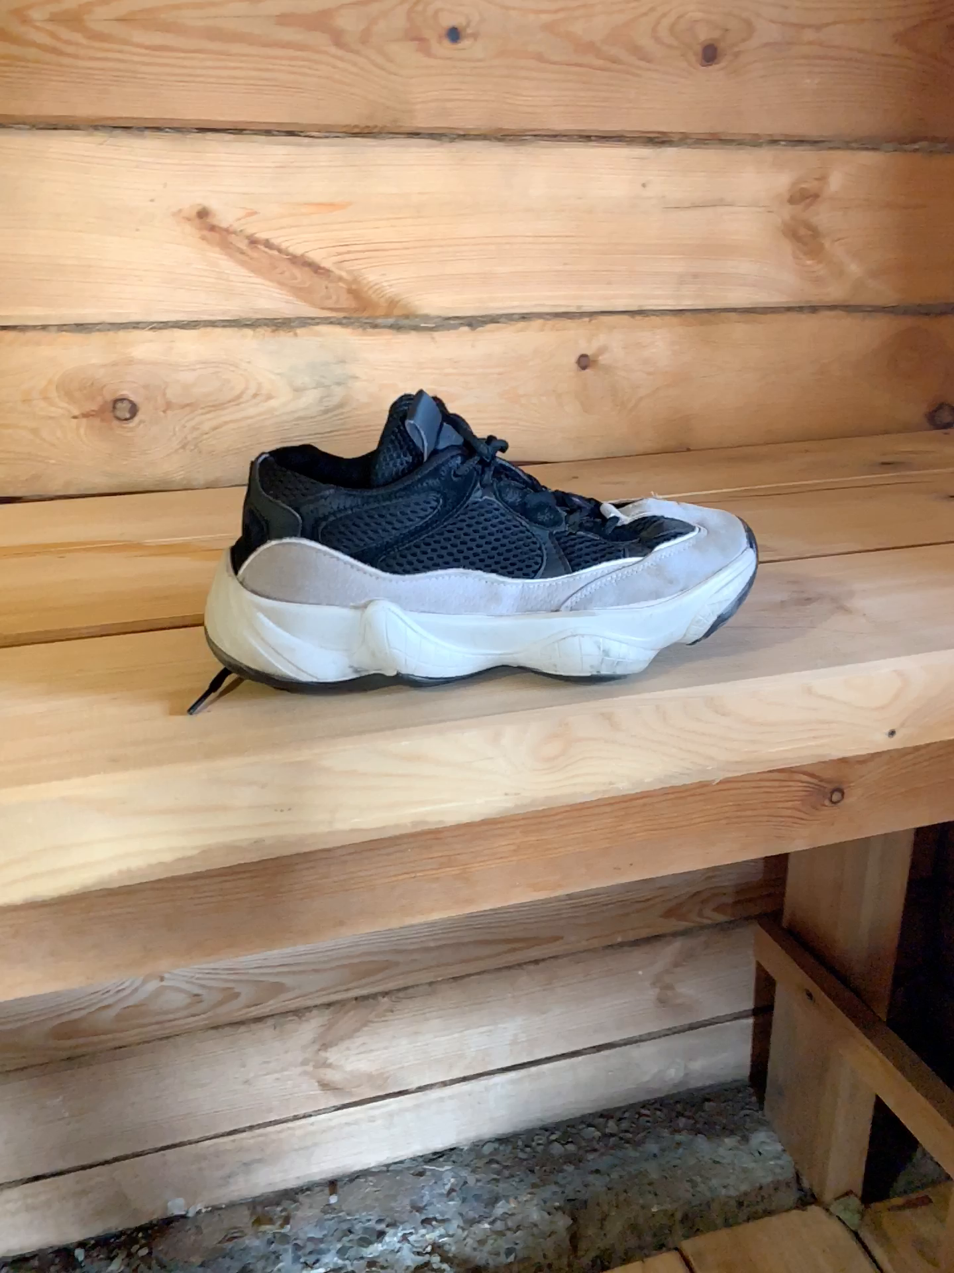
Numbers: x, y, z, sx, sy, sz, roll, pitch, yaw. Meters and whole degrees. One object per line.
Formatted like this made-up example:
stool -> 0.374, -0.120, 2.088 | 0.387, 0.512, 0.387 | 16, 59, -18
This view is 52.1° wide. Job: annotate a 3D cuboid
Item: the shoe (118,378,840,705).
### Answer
shoe -> 0.000, -0.051, 0.438 | 0.270, 0.109, 0.121 | -3, 20, -5
